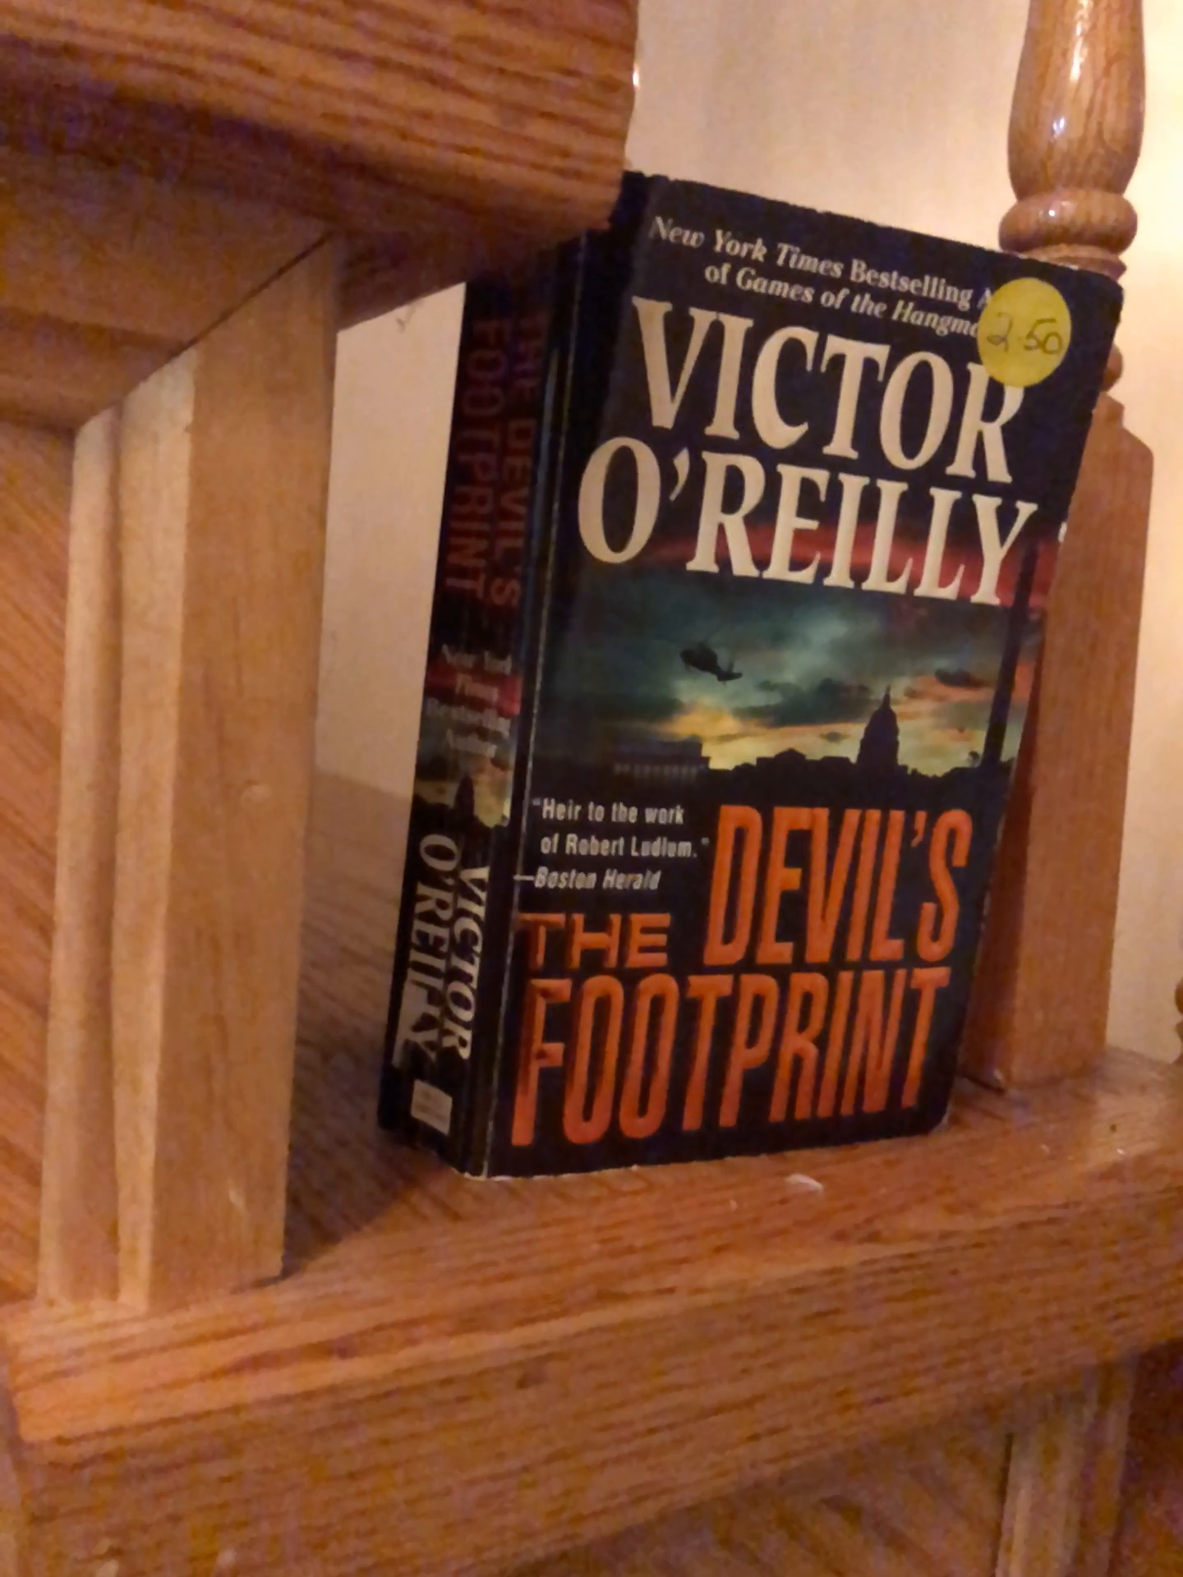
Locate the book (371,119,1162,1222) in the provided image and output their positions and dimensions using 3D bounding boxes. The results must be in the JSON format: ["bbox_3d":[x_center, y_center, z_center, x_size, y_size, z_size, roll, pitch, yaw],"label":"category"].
[{"bbox_3d":[0.029,-0.016,0.248,0.120,0.170,0.050,2,9,-22],"label":"book"}]
